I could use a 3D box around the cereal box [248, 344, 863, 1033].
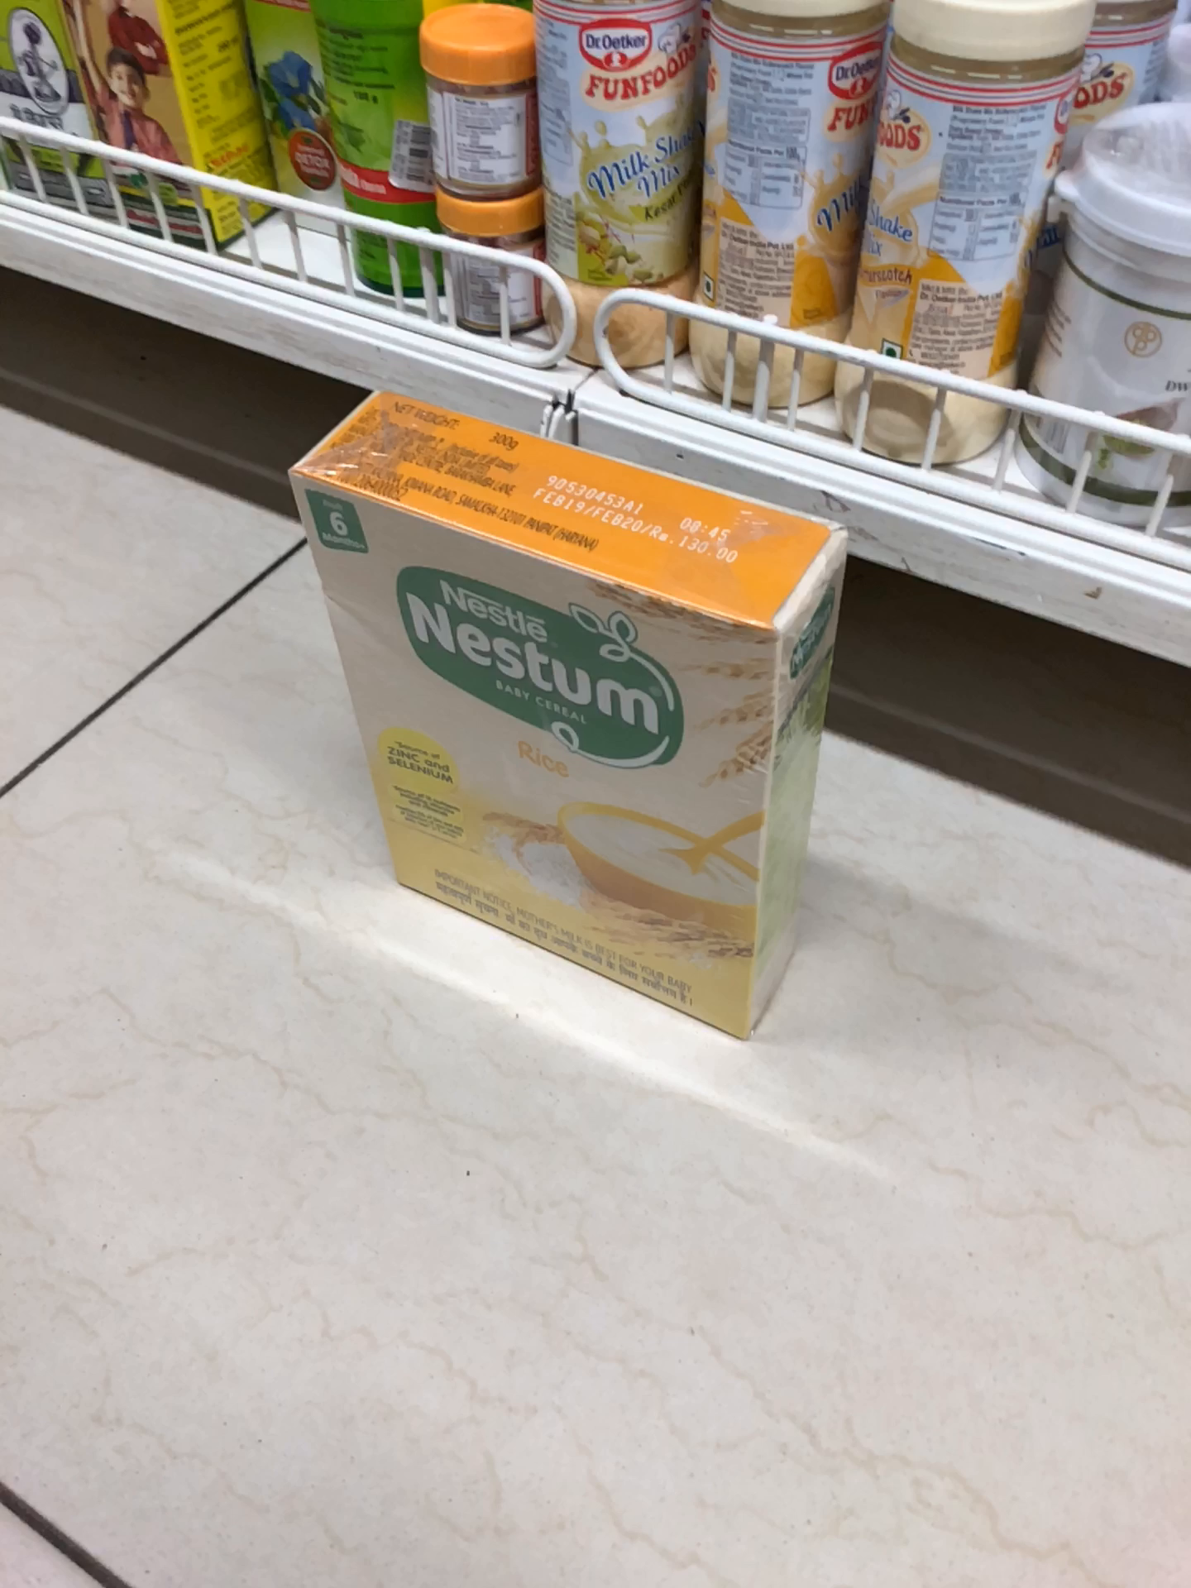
[{"bbox_3d":[-0.011,-0.026,0.418,0.160,0.189,0.050,22,52,21],"label":"cereal box"}]
